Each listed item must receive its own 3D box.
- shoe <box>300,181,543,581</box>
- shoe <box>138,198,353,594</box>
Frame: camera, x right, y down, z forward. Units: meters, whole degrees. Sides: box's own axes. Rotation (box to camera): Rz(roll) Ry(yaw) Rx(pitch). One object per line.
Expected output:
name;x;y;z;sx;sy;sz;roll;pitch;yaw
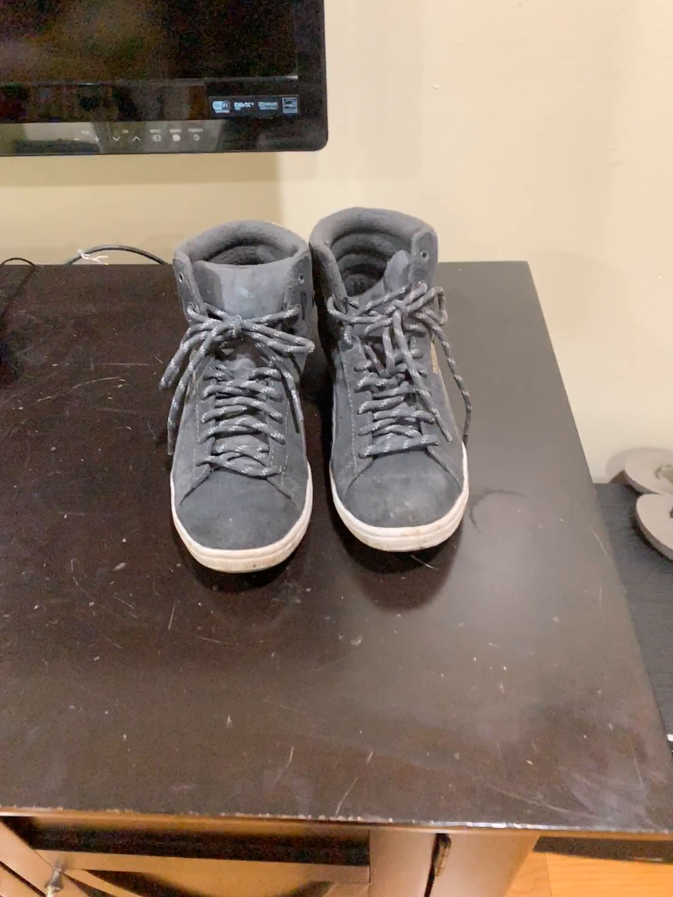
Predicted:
shoe;0.037;-0.059;0.460;0.097;0.124;0.254;-5;45;-4
shoe;-0.057;-0.051;0.455;0.100;0.107;0.263;-6;45;-4
